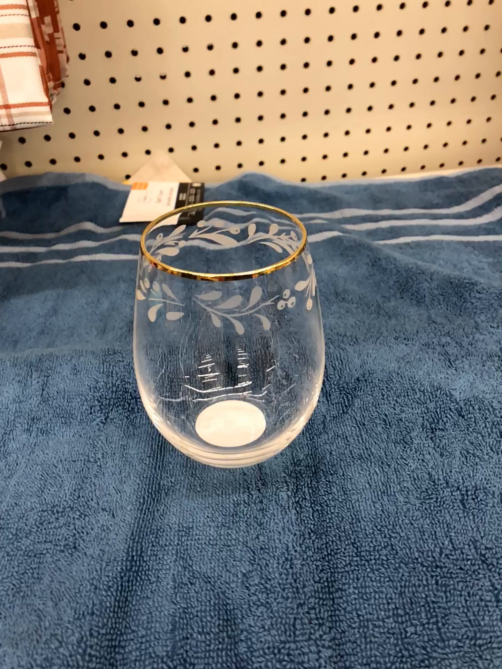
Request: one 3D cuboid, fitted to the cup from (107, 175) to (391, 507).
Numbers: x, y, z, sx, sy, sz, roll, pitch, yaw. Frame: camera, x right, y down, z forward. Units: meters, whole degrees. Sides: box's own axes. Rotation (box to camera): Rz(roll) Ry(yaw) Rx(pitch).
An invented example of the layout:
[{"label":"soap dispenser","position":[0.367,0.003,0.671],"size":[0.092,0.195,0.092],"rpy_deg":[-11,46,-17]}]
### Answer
[{"label":"cup","position":[-0.004,-0.001,0.241],"size":[0.090,0.100,0.090],"rpy_deg":[-2,36,1]}]
